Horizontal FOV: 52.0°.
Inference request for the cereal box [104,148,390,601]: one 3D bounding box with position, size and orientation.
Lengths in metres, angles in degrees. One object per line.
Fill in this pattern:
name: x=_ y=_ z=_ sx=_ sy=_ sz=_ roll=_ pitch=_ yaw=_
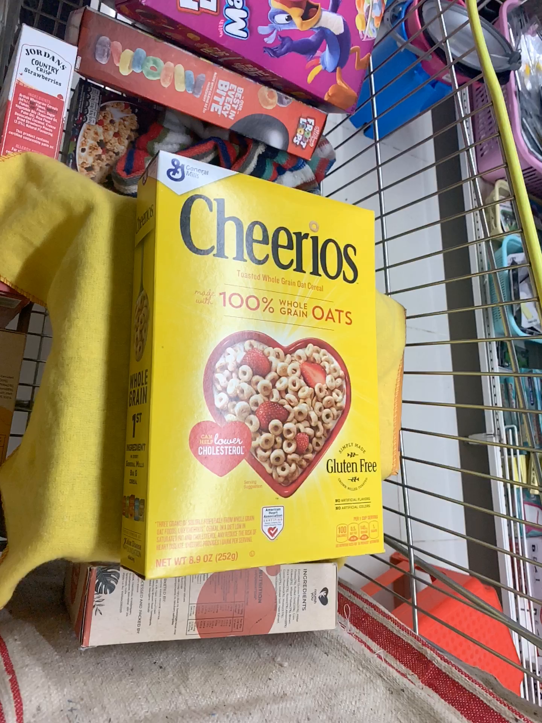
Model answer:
cereal box: x=-0.011 y=0.010 z=0.401 sx=0.191 sy=0.060 sz=0.270 roll=5 pitch=80 yaw=-30
